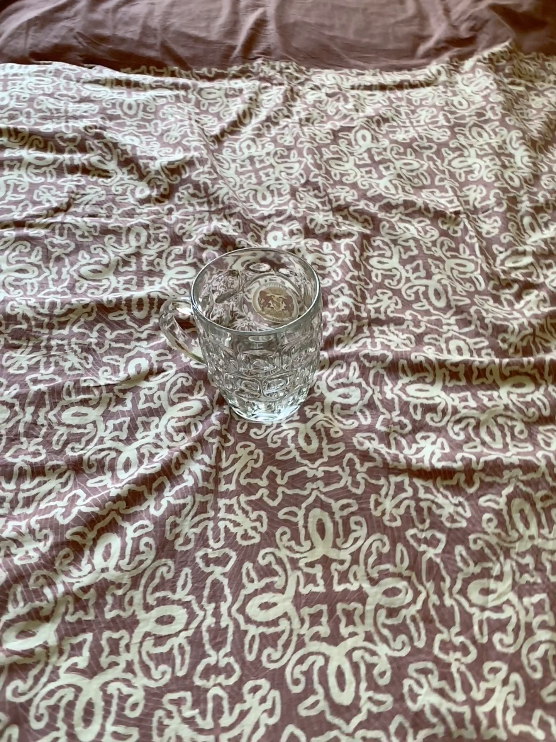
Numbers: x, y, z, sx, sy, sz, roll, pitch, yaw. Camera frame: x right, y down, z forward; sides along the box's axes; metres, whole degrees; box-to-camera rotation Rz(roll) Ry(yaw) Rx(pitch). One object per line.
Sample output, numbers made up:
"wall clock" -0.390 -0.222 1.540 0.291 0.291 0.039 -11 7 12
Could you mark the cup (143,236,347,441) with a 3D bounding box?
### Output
"cup" -0.017 -0.024 0.419 0.117 0.099 0.094 8 50 10
